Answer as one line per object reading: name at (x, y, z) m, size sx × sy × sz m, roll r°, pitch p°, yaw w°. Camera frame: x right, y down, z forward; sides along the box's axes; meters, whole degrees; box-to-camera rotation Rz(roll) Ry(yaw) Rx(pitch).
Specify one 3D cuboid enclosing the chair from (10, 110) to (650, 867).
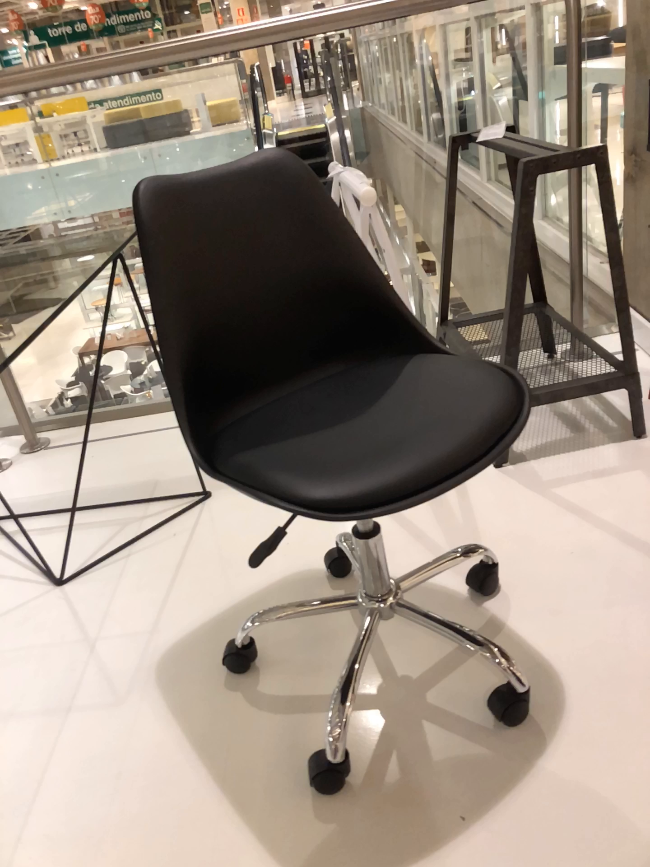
chair at (0.040, 0.010, 1.130) m, size 0.632 × 0.824 × 0.633 m, roll -26°, pitch 30°, yaw -27°
